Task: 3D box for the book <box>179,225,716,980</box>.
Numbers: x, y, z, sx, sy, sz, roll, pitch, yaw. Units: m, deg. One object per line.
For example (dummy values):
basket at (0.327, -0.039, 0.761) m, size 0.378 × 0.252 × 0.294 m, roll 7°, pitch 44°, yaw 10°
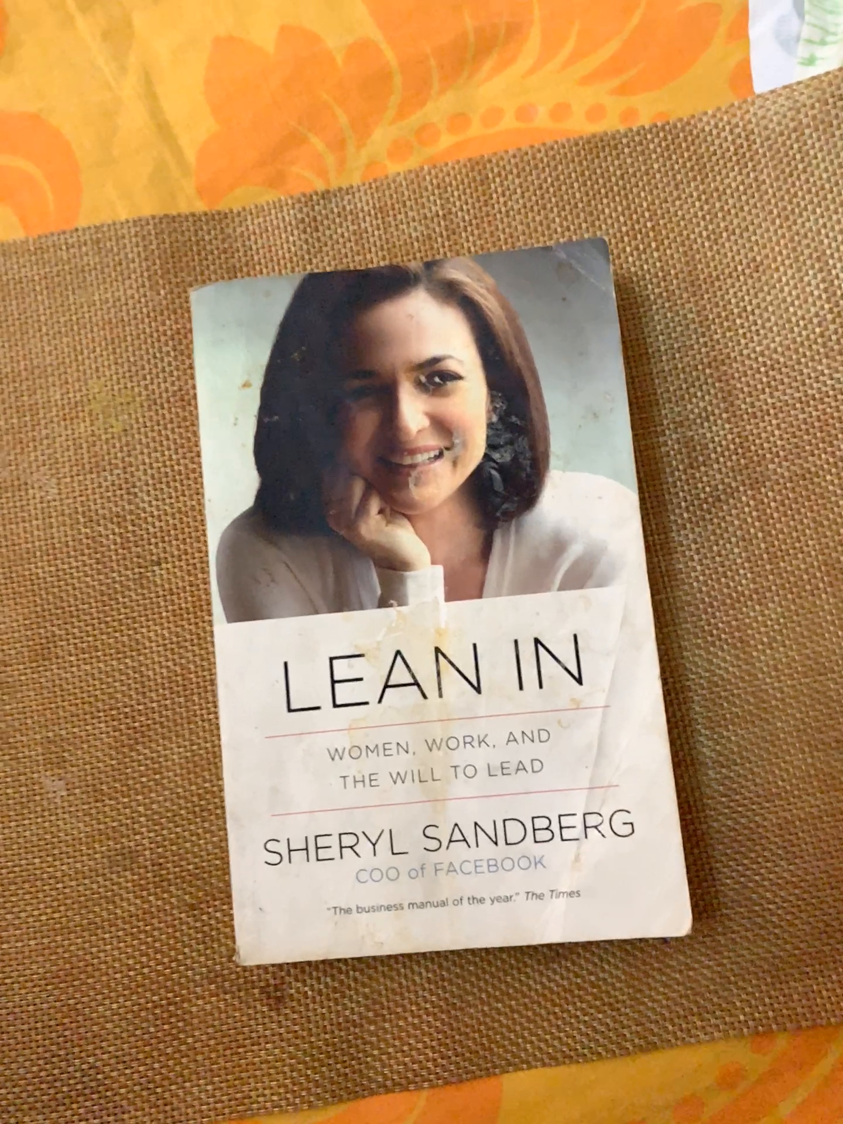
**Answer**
book at (0.003, 0.010, 0.273) m, size 0.141 × 0.026 × 0.212 m, roll -6°, pitch 82°, yaw 4°
